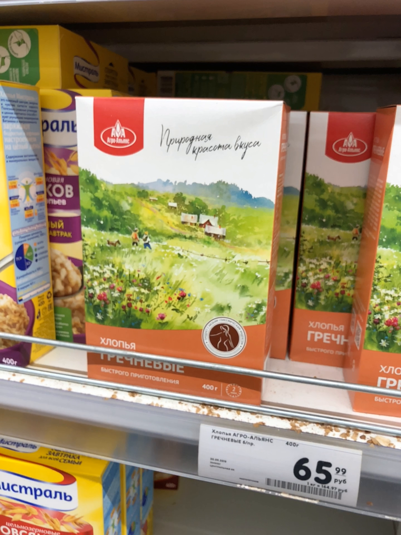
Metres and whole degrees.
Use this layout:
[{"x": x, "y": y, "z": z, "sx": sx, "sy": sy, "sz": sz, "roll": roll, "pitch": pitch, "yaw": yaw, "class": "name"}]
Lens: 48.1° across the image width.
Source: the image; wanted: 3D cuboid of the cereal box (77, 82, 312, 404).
[{"x": -0.004, "y": -0.018, "z": 0.311, "sx": 0.140, "sy": 0.199, "sz": 0.050, "roll": 5, "pitch": 16, "yaw": 13, "class": "cereal box"}]
